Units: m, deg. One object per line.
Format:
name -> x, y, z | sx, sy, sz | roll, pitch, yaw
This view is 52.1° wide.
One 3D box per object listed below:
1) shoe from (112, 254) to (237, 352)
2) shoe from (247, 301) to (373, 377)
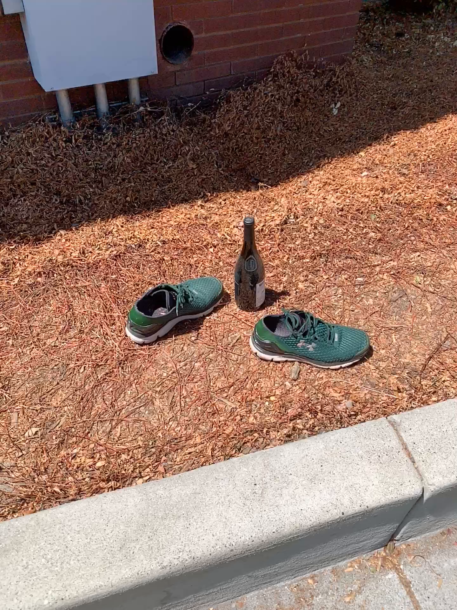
shoe -> -0.136, -0.013, 1.231 | 0.300, 0.099, 0.120 | -26, 52, -26
shoe -> 0.202, 0.085, 1.182 | 0.290, 0.099, 0.121 | 7, 45, 4
